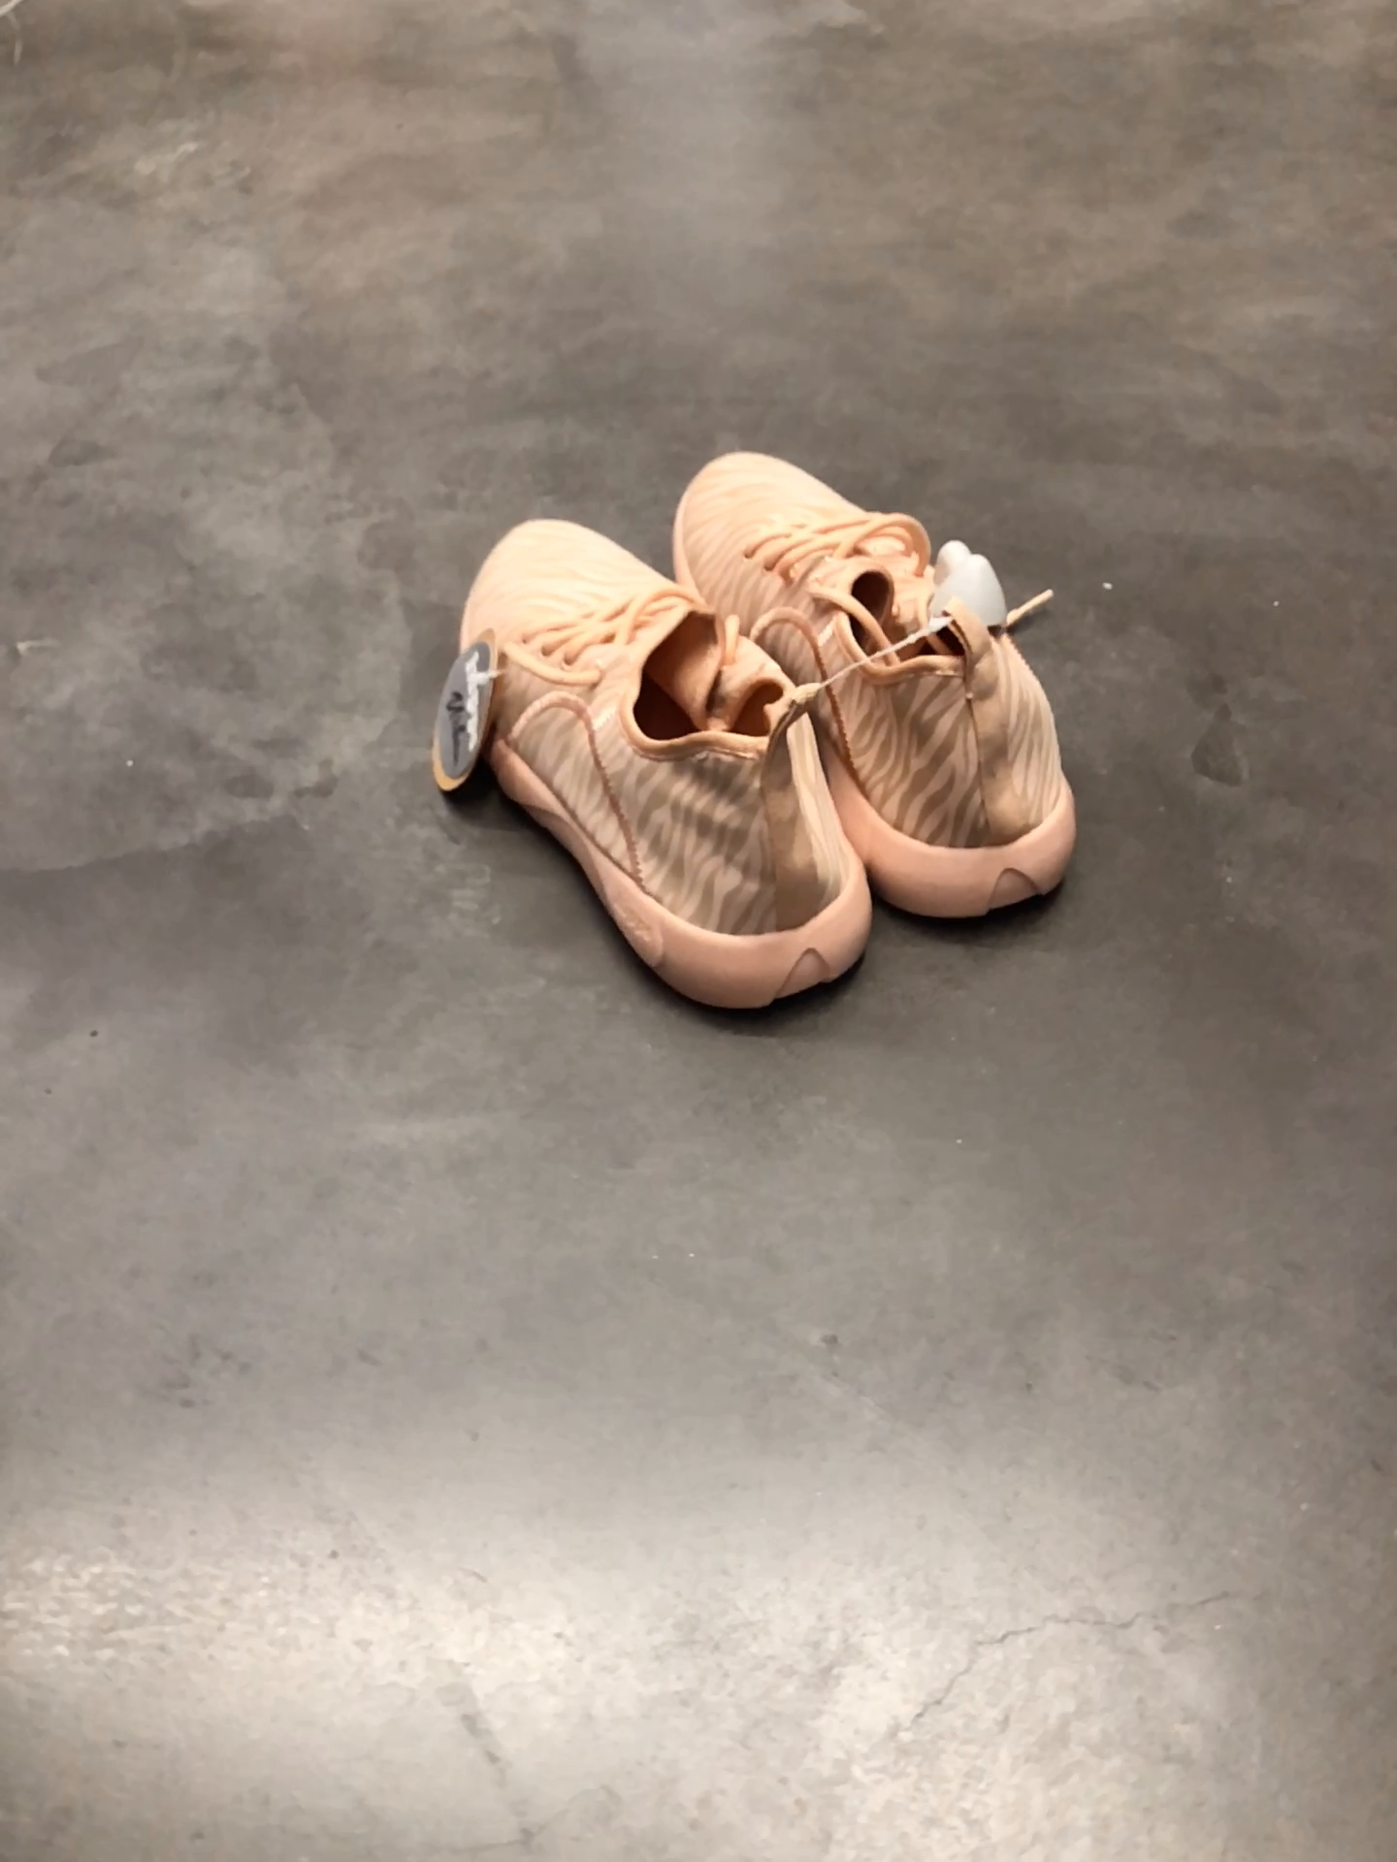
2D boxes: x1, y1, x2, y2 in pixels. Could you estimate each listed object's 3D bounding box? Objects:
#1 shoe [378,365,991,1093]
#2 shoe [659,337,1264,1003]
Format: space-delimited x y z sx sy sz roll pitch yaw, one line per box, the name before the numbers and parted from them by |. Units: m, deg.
shoe | -0.015 -0.078 0.502 0.100 0.099 0.231 -19 48 -15
shoe | 0.075 -0.102 0.540 0.100 0.099 0.231 -17 48 -13
